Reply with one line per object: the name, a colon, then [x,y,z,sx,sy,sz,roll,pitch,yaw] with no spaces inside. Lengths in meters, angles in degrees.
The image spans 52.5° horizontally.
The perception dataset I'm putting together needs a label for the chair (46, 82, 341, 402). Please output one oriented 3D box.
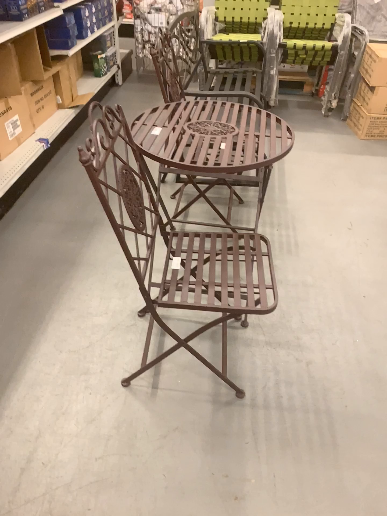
chair: [-0.002,-0.009,1.179,0.563,0.839,0.424,4,40,2]
